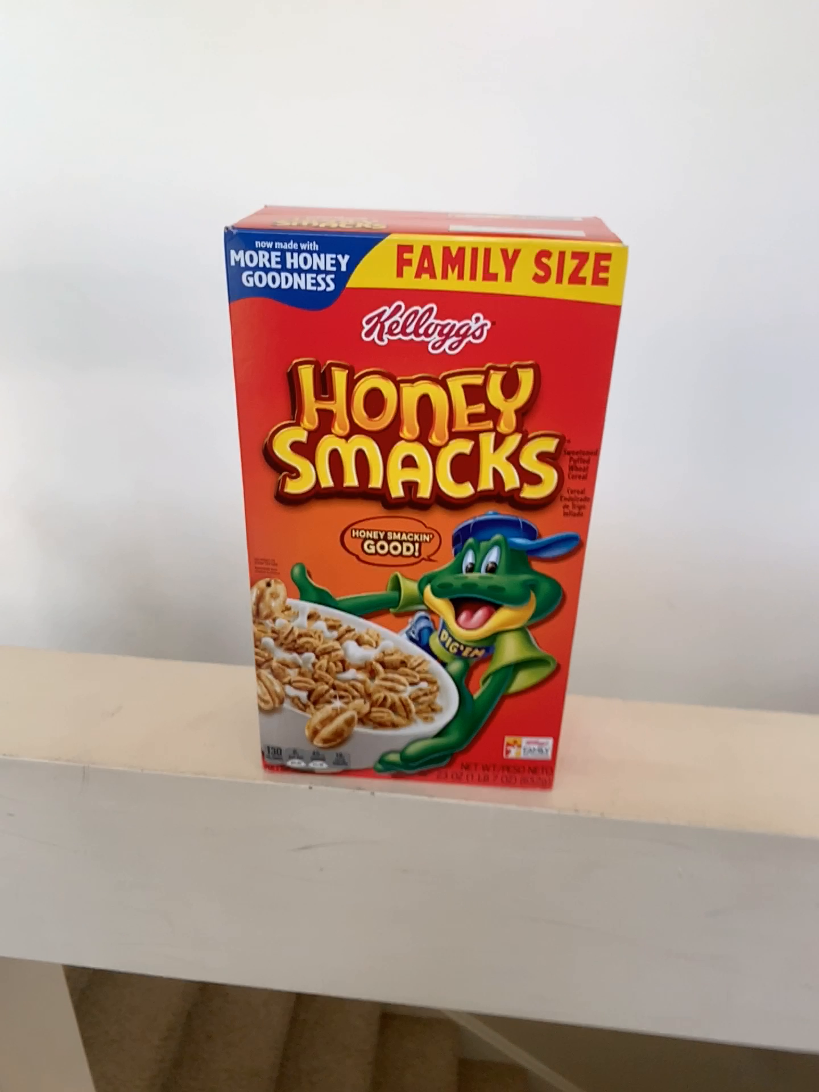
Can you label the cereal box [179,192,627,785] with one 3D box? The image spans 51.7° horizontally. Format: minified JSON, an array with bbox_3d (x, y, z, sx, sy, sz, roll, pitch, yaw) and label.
[{"bbox_3d":[-0.005,-0.026,0.517,0.210,0.338,0.101,3,27,3],"label":"cereal box"}]
